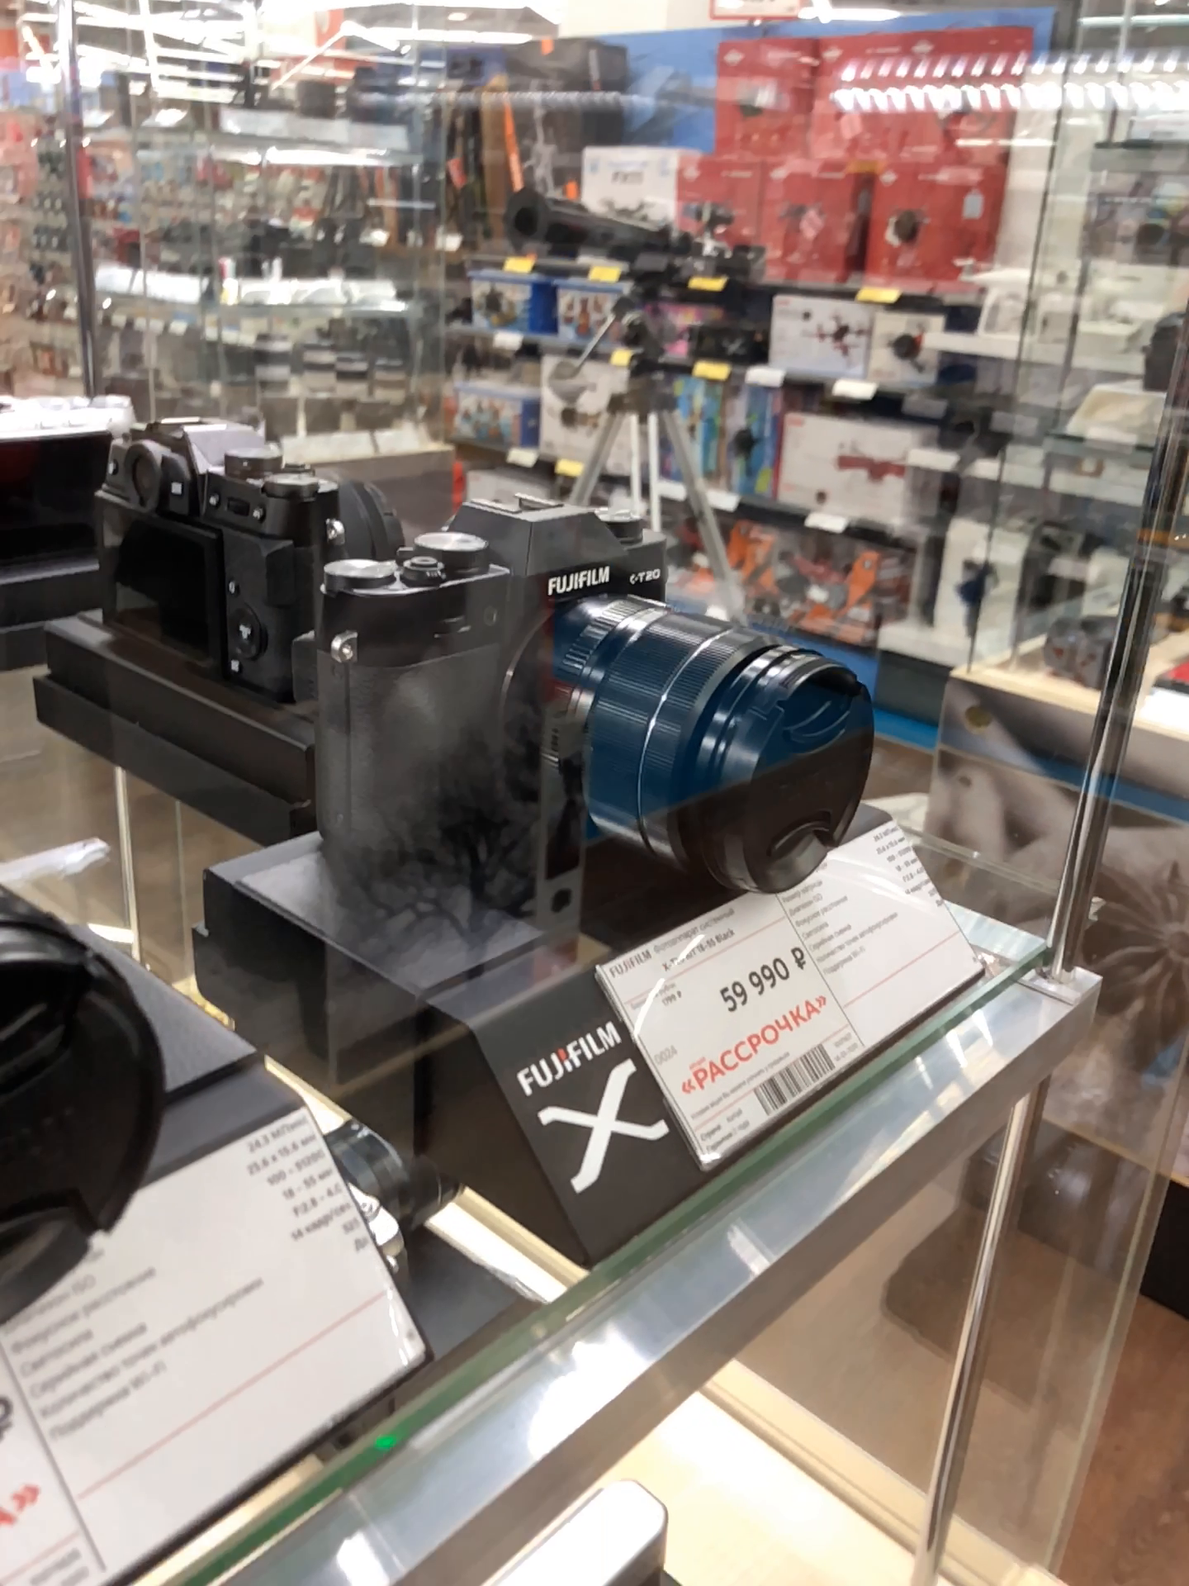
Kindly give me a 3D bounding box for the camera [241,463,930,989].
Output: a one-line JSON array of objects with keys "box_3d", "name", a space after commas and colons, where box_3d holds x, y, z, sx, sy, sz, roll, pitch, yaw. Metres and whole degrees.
[{"box_3d": [-0.003, -0.030, 0.340, 0.121, 0.081, 0.121, 21, 29, 36], "name": "camera"}]
